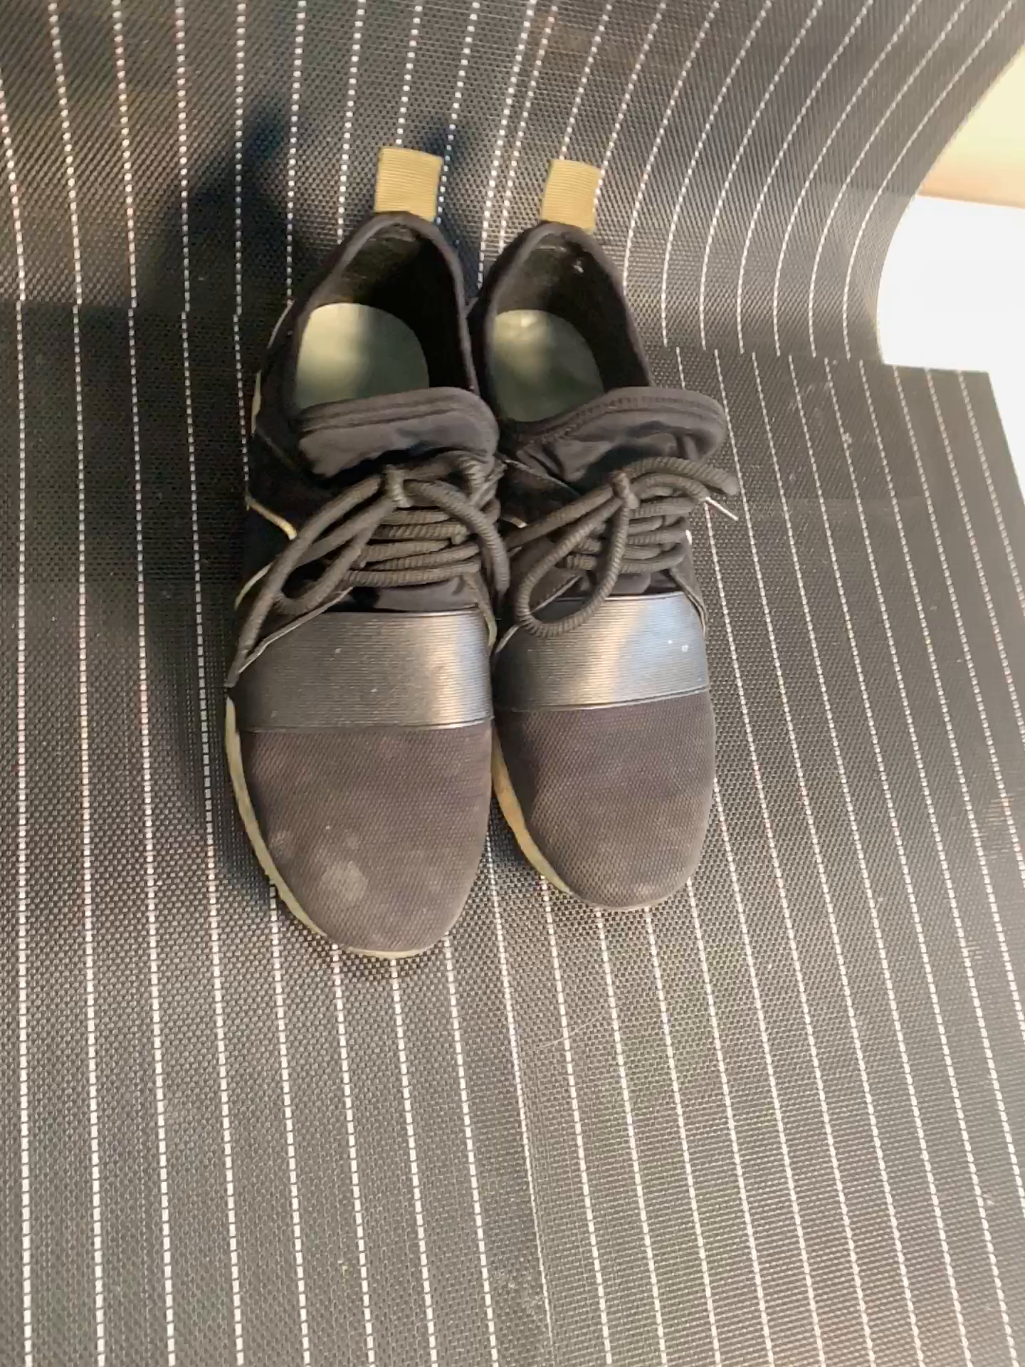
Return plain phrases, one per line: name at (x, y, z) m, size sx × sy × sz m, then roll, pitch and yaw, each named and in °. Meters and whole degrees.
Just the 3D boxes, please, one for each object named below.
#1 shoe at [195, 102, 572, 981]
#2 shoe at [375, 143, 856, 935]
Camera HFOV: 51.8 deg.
shoe at (-0.055, -0.048, 0.364) m, size 0.100 × 0.080 × 0.280 m, roll -1°, pitch 73°, yaw -18°
shoe at (0.027, -0.057, 0.408) m, size 0.100 × 0.090 × 0.280 m, roll -7°, pitch 75°, yaw -19°
